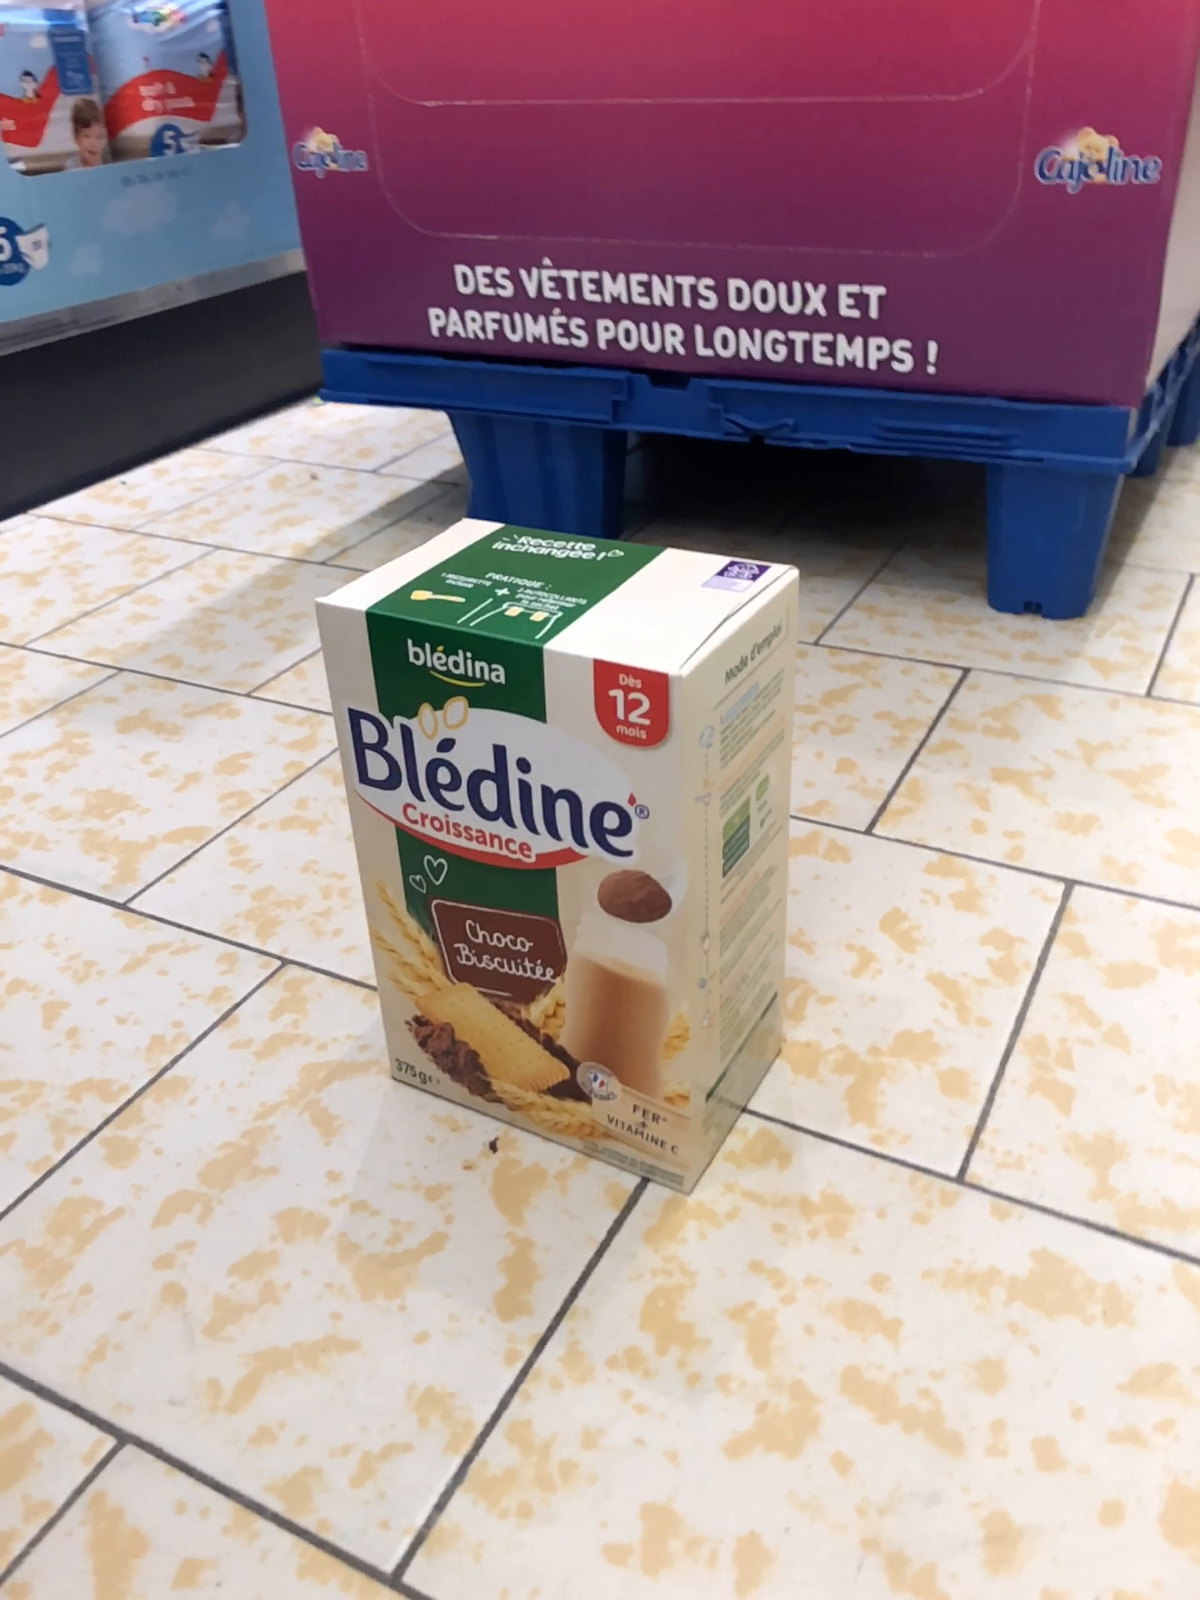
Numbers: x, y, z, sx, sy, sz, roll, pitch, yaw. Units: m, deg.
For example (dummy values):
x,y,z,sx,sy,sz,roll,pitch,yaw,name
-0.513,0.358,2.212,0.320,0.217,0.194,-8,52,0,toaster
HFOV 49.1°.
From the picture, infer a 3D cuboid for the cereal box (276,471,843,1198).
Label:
x,y,z,sx,sy,sz,roll,pitch,yaw,name
-0.006,0.007,0.399,0.130,0.179,0.081,14,35,27,cereal box
